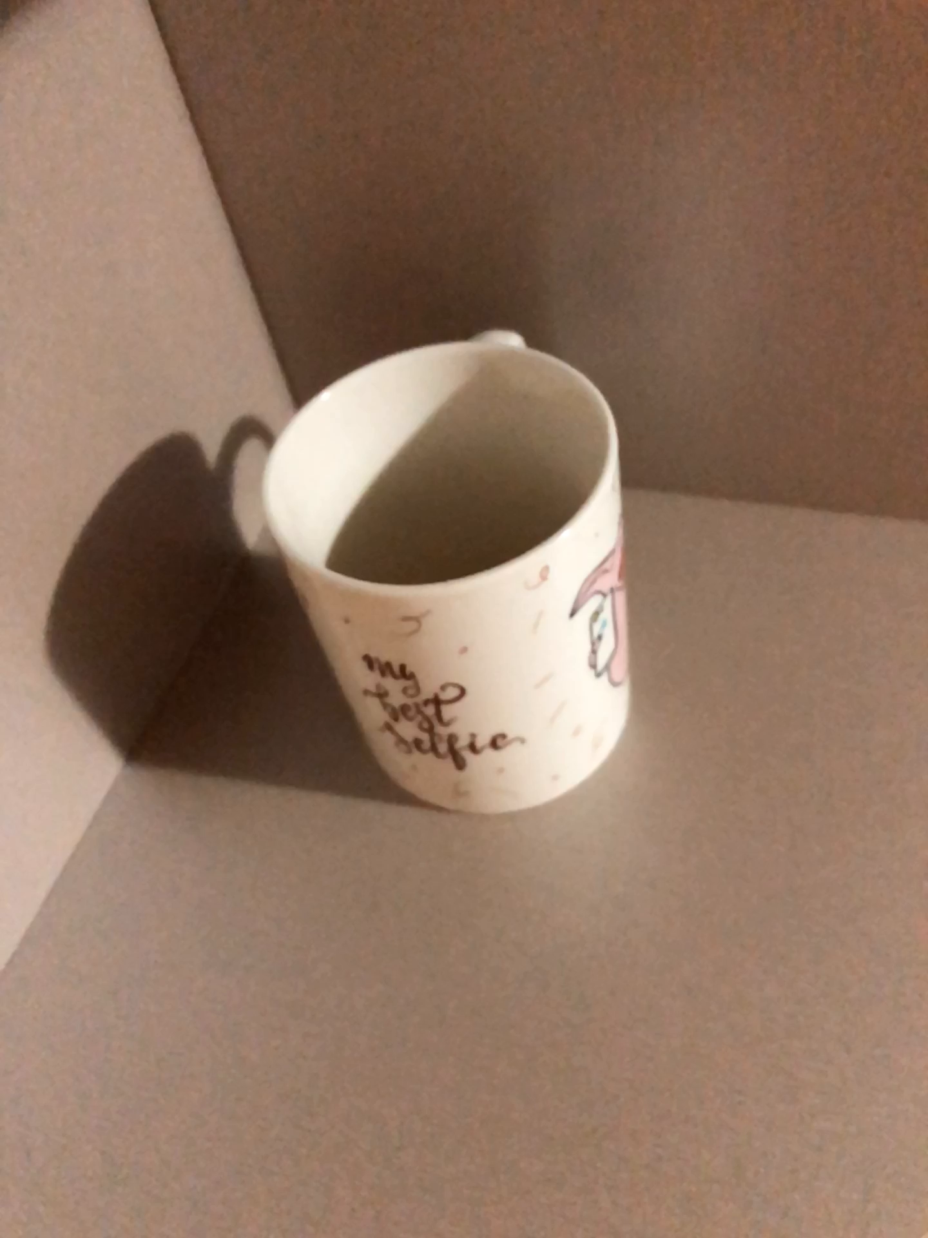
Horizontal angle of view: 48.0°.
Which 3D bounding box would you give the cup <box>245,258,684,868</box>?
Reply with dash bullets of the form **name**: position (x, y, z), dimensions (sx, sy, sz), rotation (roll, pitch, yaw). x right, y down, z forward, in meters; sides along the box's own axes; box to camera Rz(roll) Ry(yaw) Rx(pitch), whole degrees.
- **cup**: position (0.005, -0.014, 0.277), dimensions (0.086, 0.096, 0.119), rotation (-7, 50, 6)
